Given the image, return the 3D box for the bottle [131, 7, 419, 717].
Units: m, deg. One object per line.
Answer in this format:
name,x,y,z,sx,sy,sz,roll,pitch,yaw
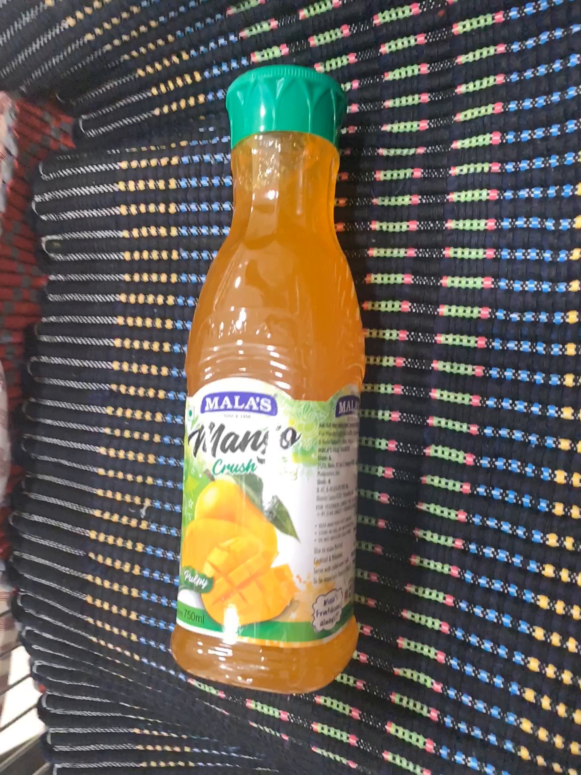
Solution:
bottle,0.002,-0.011,0.258,0.080,0.090,0.240,2,85,23
